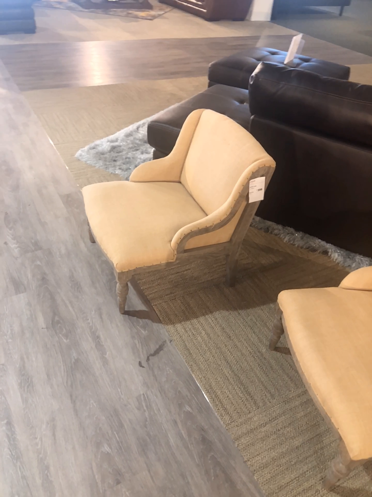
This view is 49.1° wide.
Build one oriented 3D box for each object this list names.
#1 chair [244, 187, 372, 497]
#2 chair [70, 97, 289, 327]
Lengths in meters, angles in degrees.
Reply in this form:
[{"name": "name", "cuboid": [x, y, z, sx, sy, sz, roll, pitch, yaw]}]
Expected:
[{"name": "chair", "cuboid": [0.668, 0.252, 1.281, 0.719, 0.625, 0.630, -4, 39, -11]}, {"name": "chair", "cuboid": [-0.075, -0.202, 1.825, 0.670, 0.685, 0.639, -13, 41, -22]}]
